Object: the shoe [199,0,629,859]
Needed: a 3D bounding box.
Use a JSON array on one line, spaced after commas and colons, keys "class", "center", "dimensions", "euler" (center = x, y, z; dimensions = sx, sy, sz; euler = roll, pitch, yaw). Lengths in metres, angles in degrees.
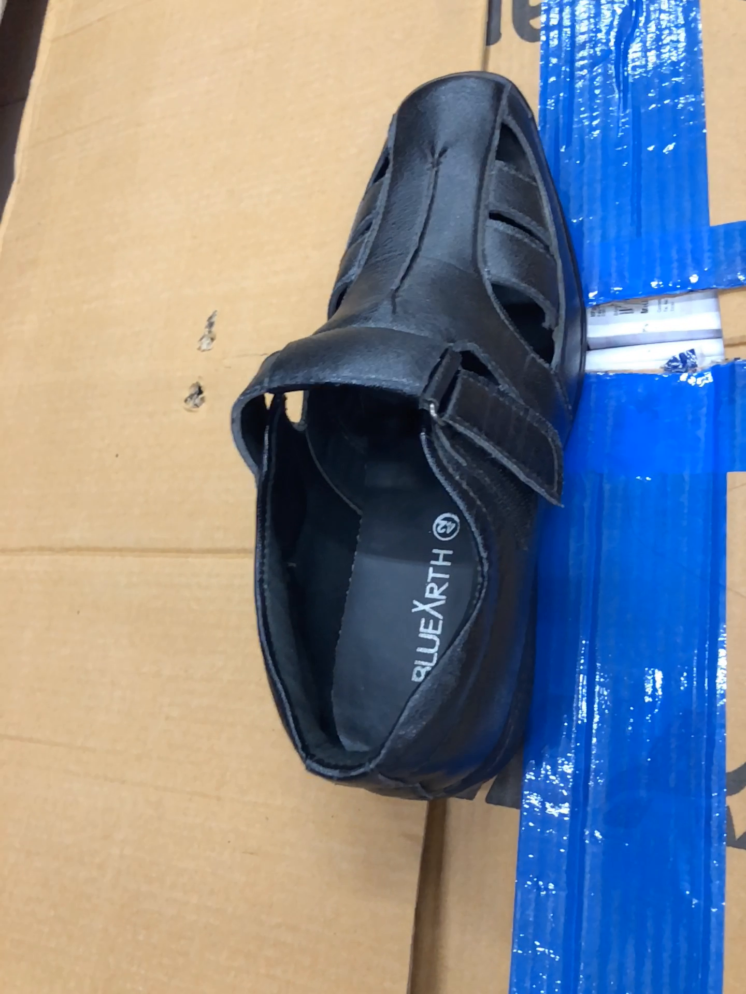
[{"class": "shoe", "center": [0.028, -0.047, 0.291], "dimensions": [0.100, 0.100, 0.300], "euler": [-3, 73, 25]}]
